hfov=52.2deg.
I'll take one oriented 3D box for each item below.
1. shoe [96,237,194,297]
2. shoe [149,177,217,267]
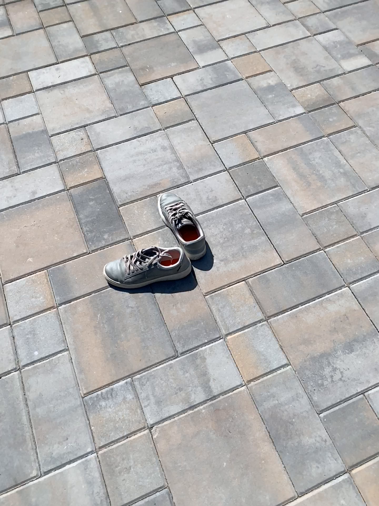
[{"bbox_3d":[-0.145,0.047,1.285,0.300,0.110,0.120,-8,62,-5],"label":"shoe"},{"bbox_3d":[-0.028,-0.115,1.377,0.120,0.090,0.301,-22,64,-12],"label":"shoe"}]
